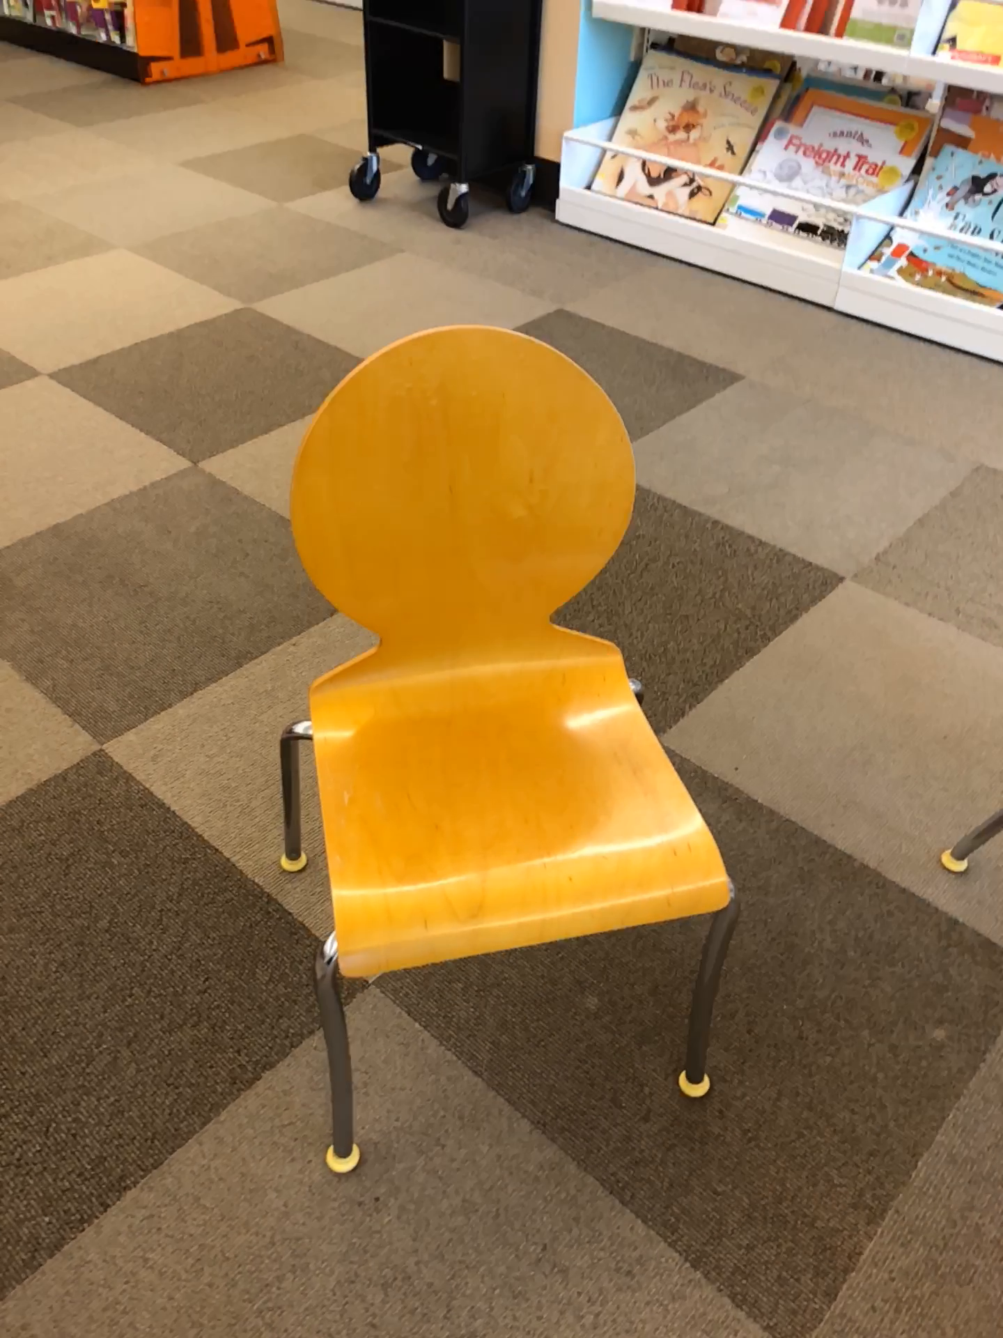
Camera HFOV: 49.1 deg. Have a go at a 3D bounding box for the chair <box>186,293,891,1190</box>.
[{"bbox_3d":[-0.023,0.078,1.112,0.465,0.723,0.472,-7,40,-11],"label":"chair"}]
